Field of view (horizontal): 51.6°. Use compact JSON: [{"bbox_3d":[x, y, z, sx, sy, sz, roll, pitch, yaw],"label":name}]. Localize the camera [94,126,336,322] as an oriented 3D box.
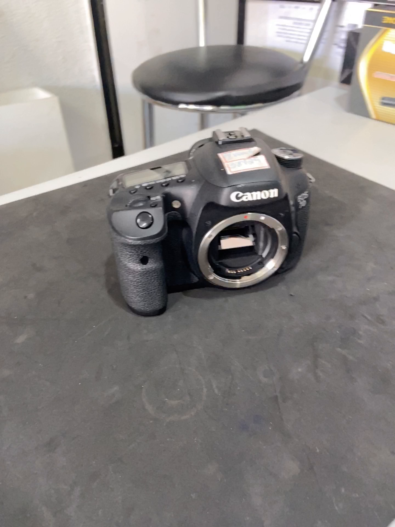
[{"bbox_3d":[0.008,-0.034,0.315,0.152,0.101,0.083,-10,38,-10],"label":"camera"}]
